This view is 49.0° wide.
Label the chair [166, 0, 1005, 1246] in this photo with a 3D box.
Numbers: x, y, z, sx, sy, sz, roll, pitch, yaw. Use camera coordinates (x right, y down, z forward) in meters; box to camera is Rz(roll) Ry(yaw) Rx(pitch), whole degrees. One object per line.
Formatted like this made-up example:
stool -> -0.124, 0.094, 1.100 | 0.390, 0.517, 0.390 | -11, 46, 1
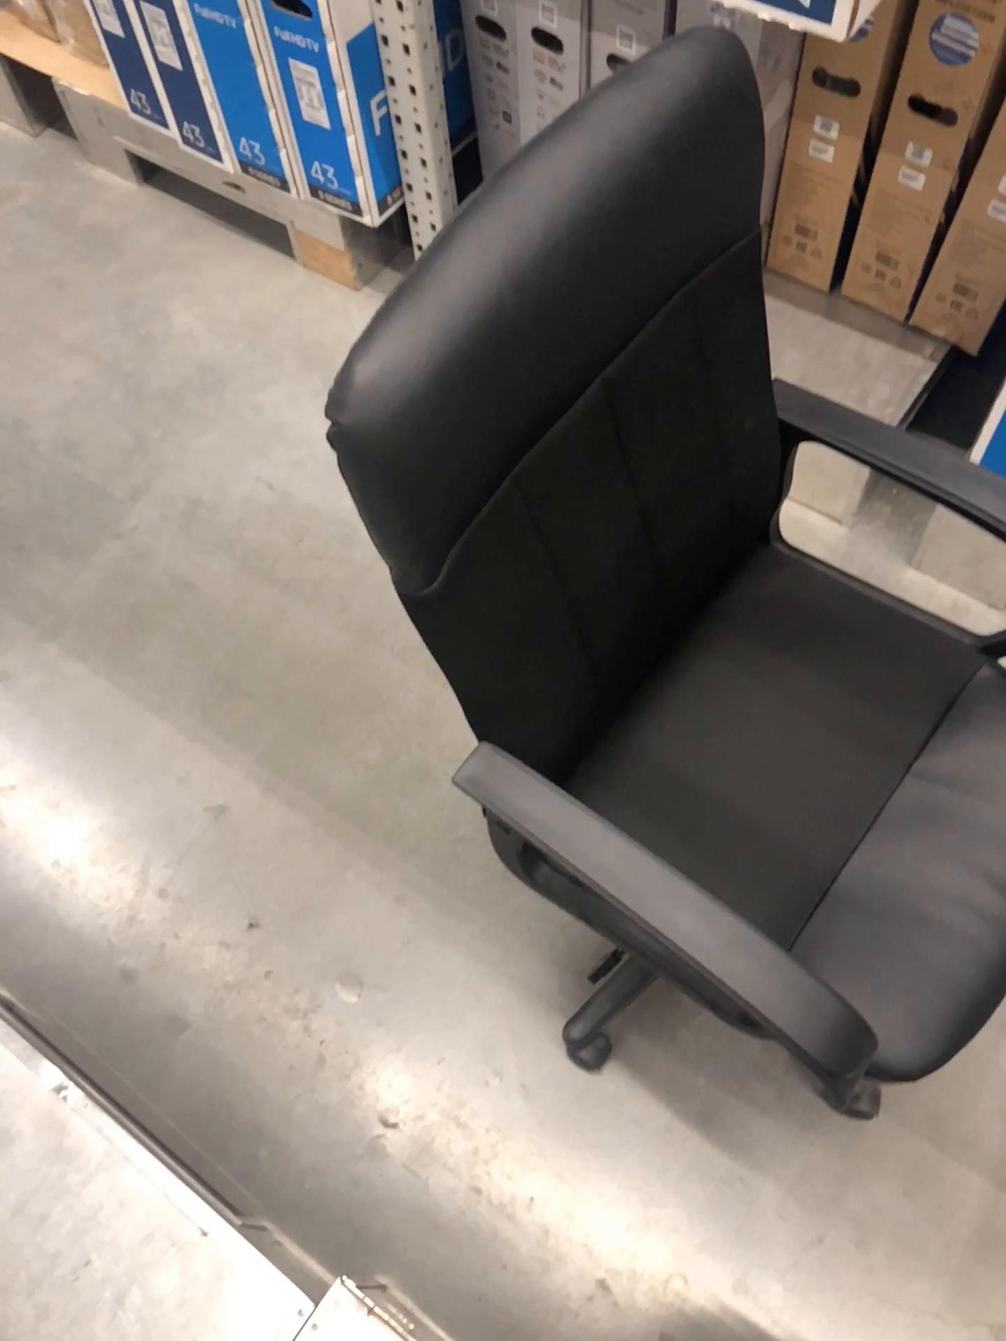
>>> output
chair -> 0.290, 0.071, 1.134 | 0.631, 1.125, 0.652 | 31, 68, 19
